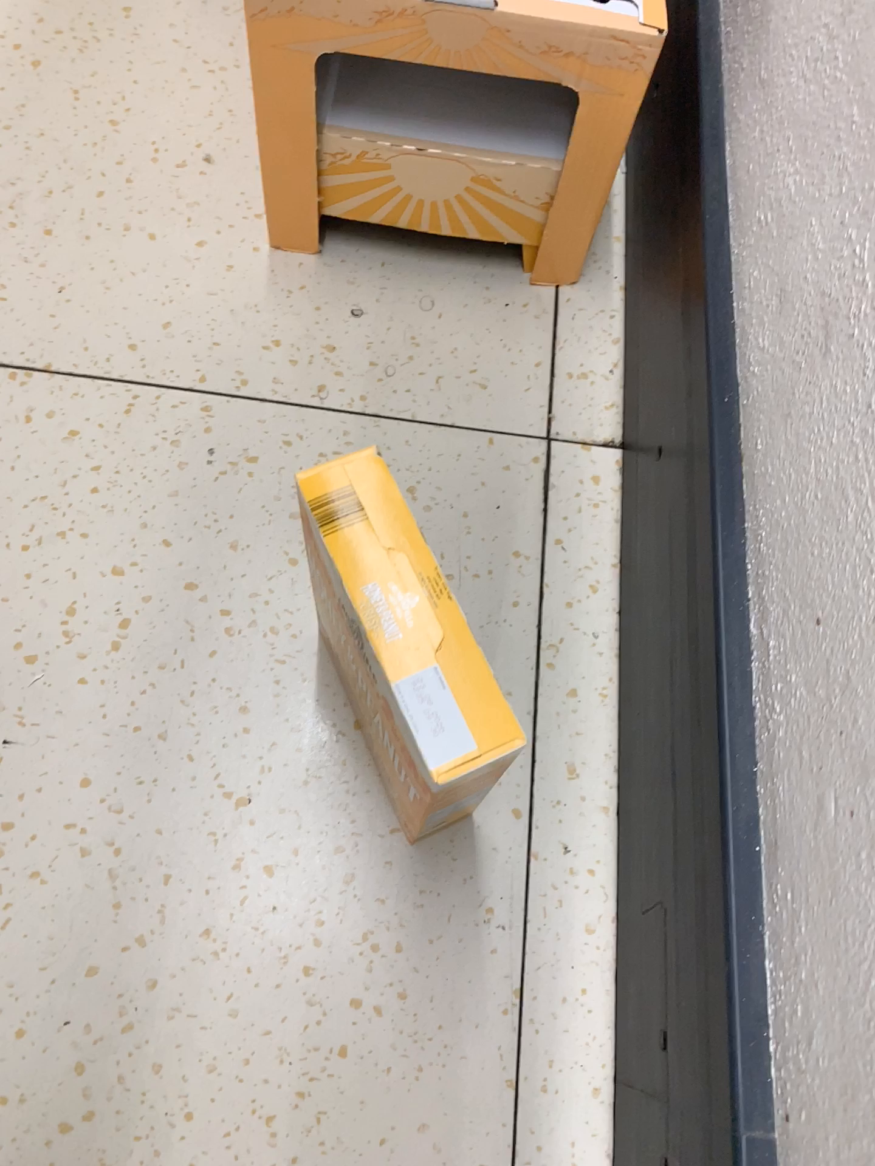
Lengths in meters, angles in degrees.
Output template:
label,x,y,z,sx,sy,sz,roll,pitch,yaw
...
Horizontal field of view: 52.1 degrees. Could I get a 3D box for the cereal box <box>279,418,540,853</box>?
label,x,y,z,sx,sy,sz,roll,pitch,yaw
cereal box,-0.027,0.054,0.555,0.050,0.269,0.191,-23,71,-13
